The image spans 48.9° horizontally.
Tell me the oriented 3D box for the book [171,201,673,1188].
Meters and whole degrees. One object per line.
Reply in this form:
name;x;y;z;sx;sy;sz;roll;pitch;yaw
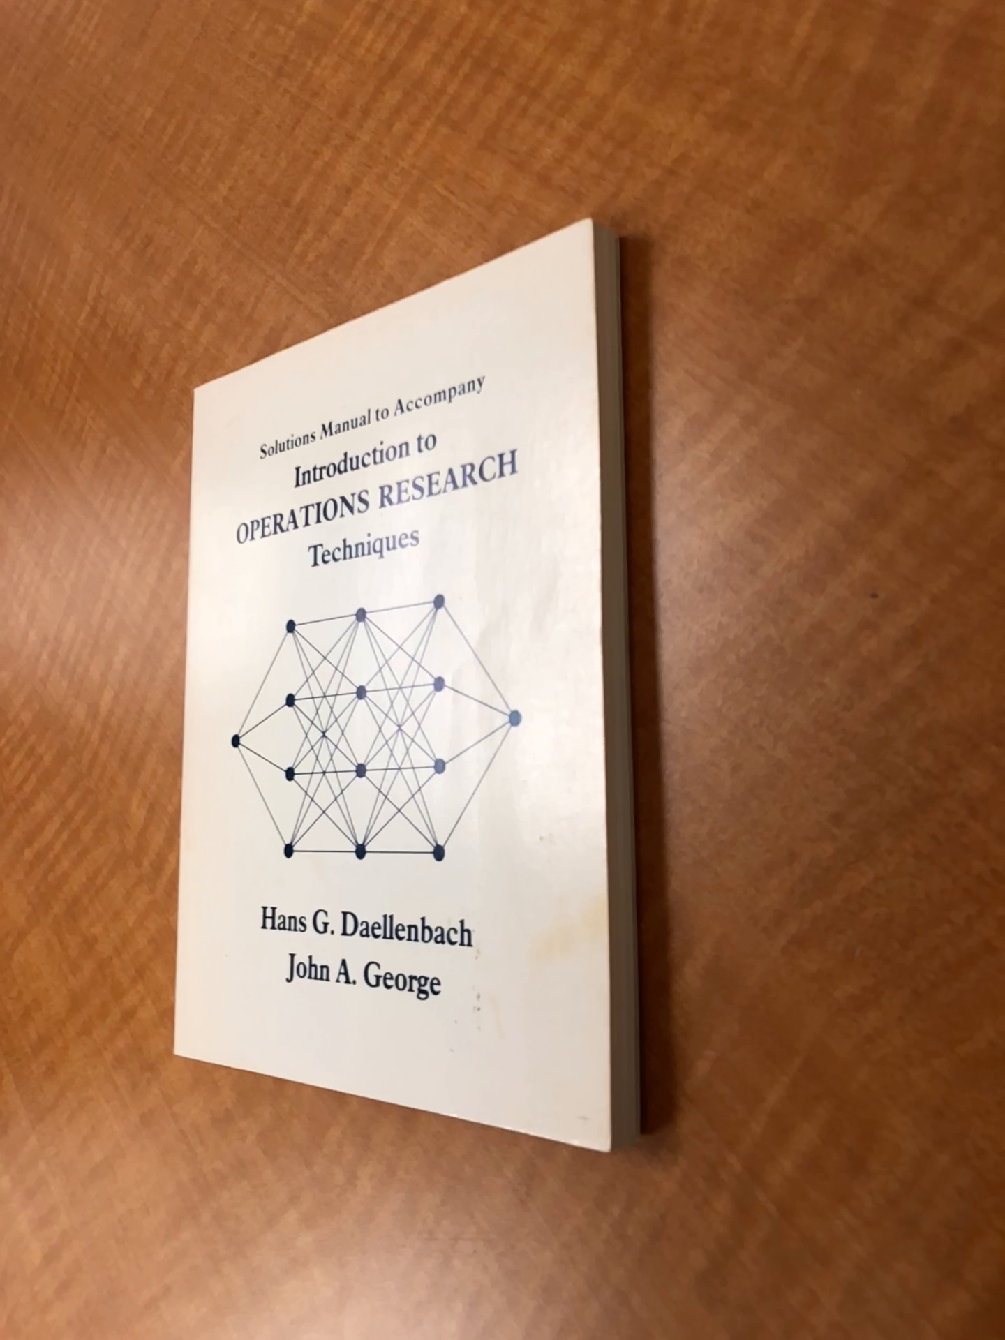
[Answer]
book;-0.036;0.008;0.341;0.181;0.020;0.250;-7;79;38
